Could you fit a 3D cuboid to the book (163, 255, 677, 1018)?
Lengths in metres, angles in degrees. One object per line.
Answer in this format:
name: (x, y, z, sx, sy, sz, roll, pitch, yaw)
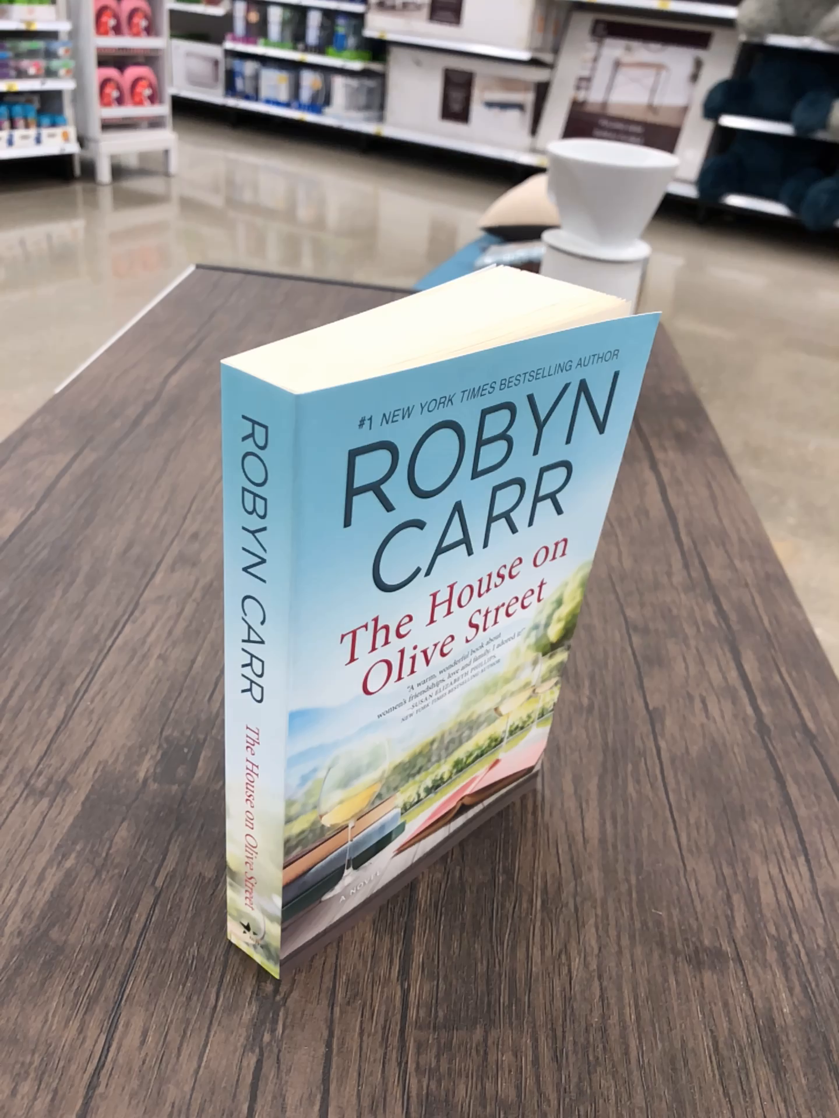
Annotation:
book: (0.000, 0.019, 0.292, 0.050, 0.195, 0.147, 28, 37, 31)
